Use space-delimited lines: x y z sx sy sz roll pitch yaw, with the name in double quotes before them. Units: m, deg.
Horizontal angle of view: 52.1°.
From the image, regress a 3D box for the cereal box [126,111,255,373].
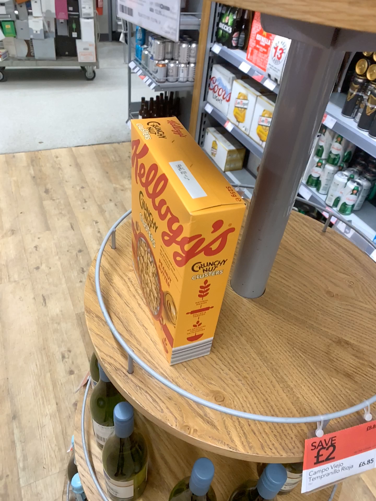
"cereal box" -0.019 -0.012 0.477 0.060 0.238 0.212 -11 44 -20
